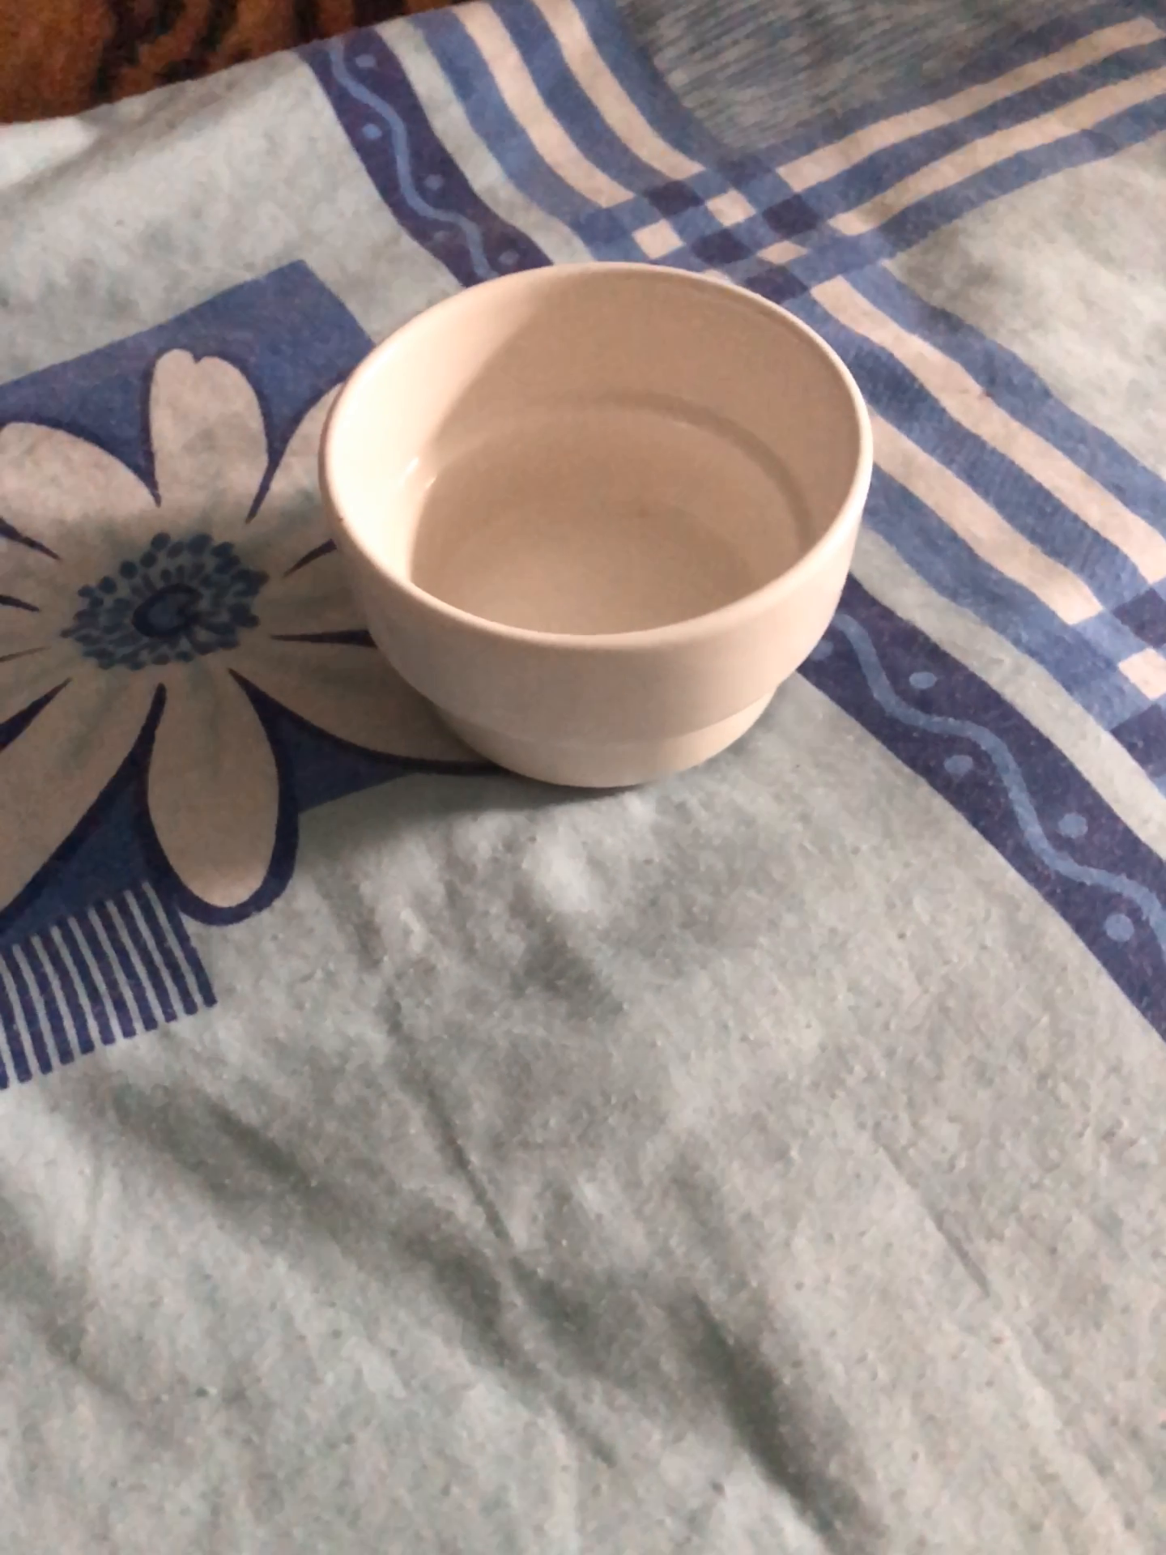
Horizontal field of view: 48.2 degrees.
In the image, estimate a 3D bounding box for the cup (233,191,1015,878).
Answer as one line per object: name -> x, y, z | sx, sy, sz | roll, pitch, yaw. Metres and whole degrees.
cup -> 0.003, -0.041, 0.208 | 0.091, 0.047, 0.077 | -17, 60, -12
